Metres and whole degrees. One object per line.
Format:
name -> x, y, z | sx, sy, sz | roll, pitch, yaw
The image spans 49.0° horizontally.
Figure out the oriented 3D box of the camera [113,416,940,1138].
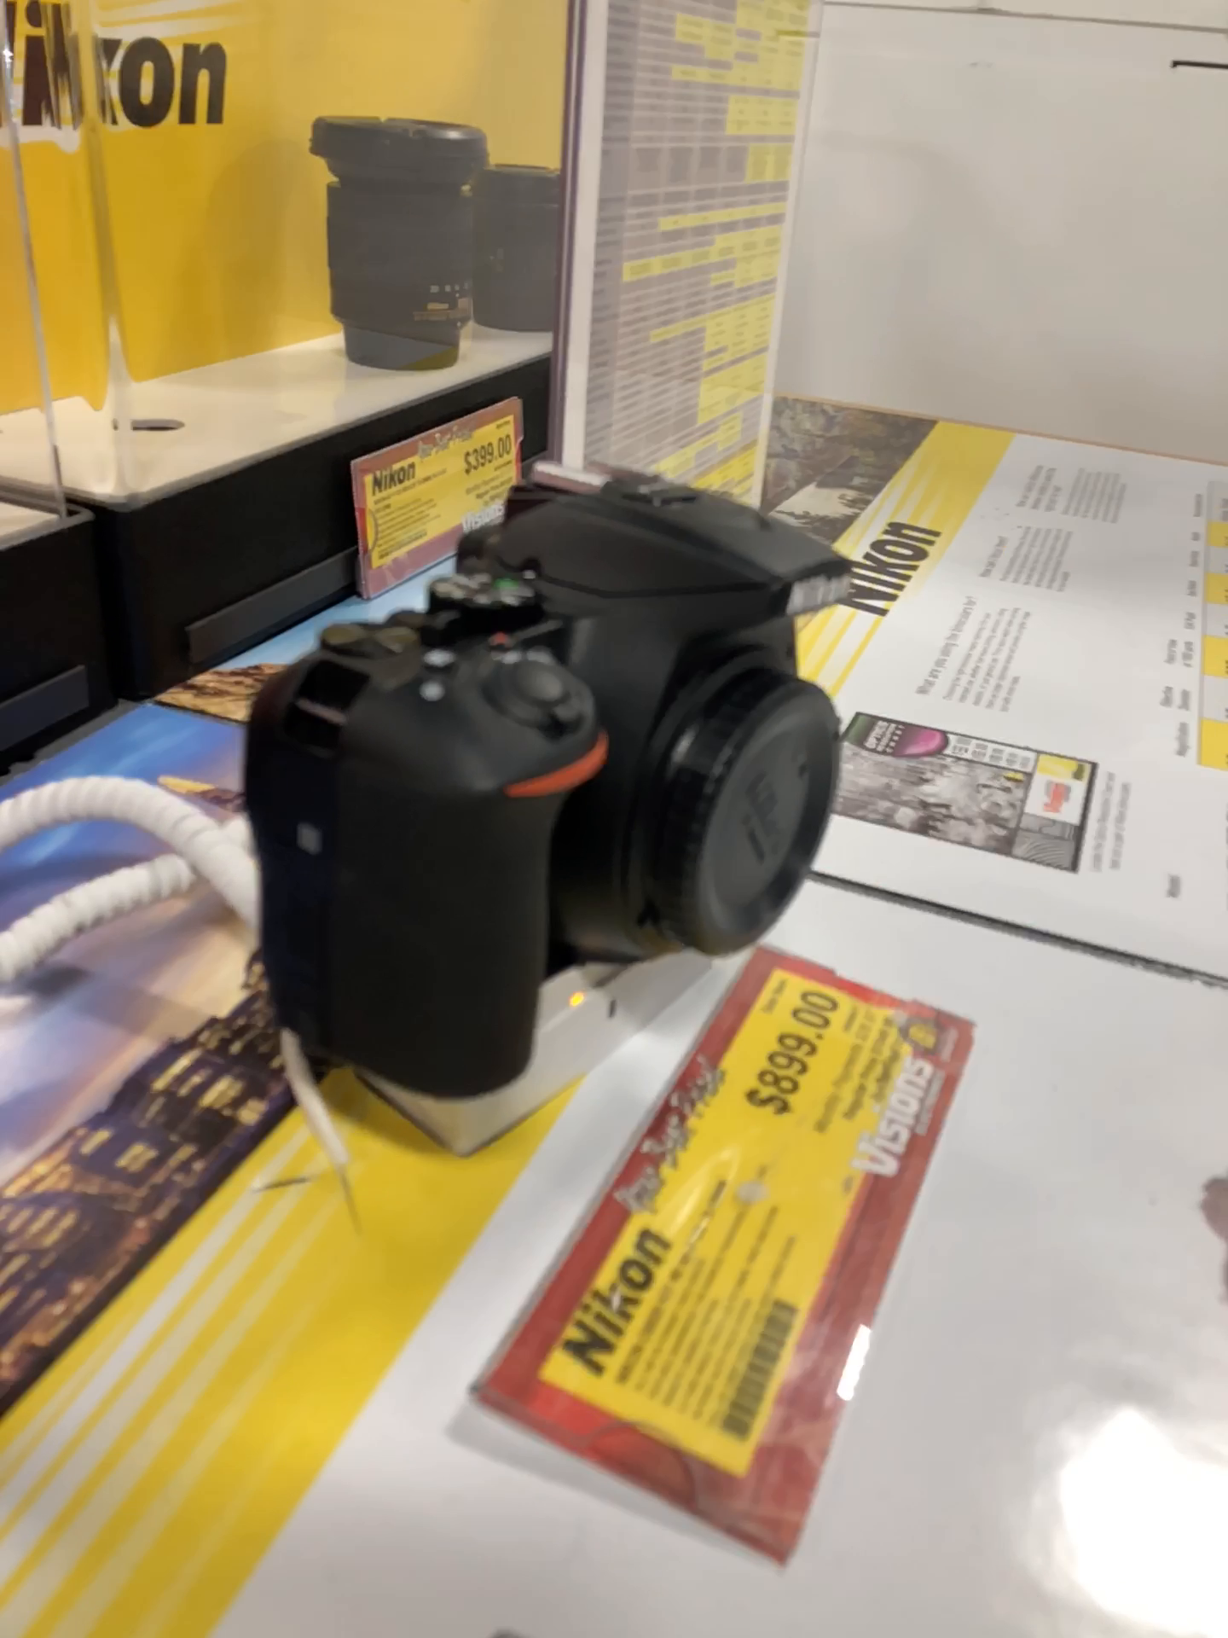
camera -> -0.010, -0.023, 0.266 | 0.080, 0.089, 0.140 | 21, 29, 33
